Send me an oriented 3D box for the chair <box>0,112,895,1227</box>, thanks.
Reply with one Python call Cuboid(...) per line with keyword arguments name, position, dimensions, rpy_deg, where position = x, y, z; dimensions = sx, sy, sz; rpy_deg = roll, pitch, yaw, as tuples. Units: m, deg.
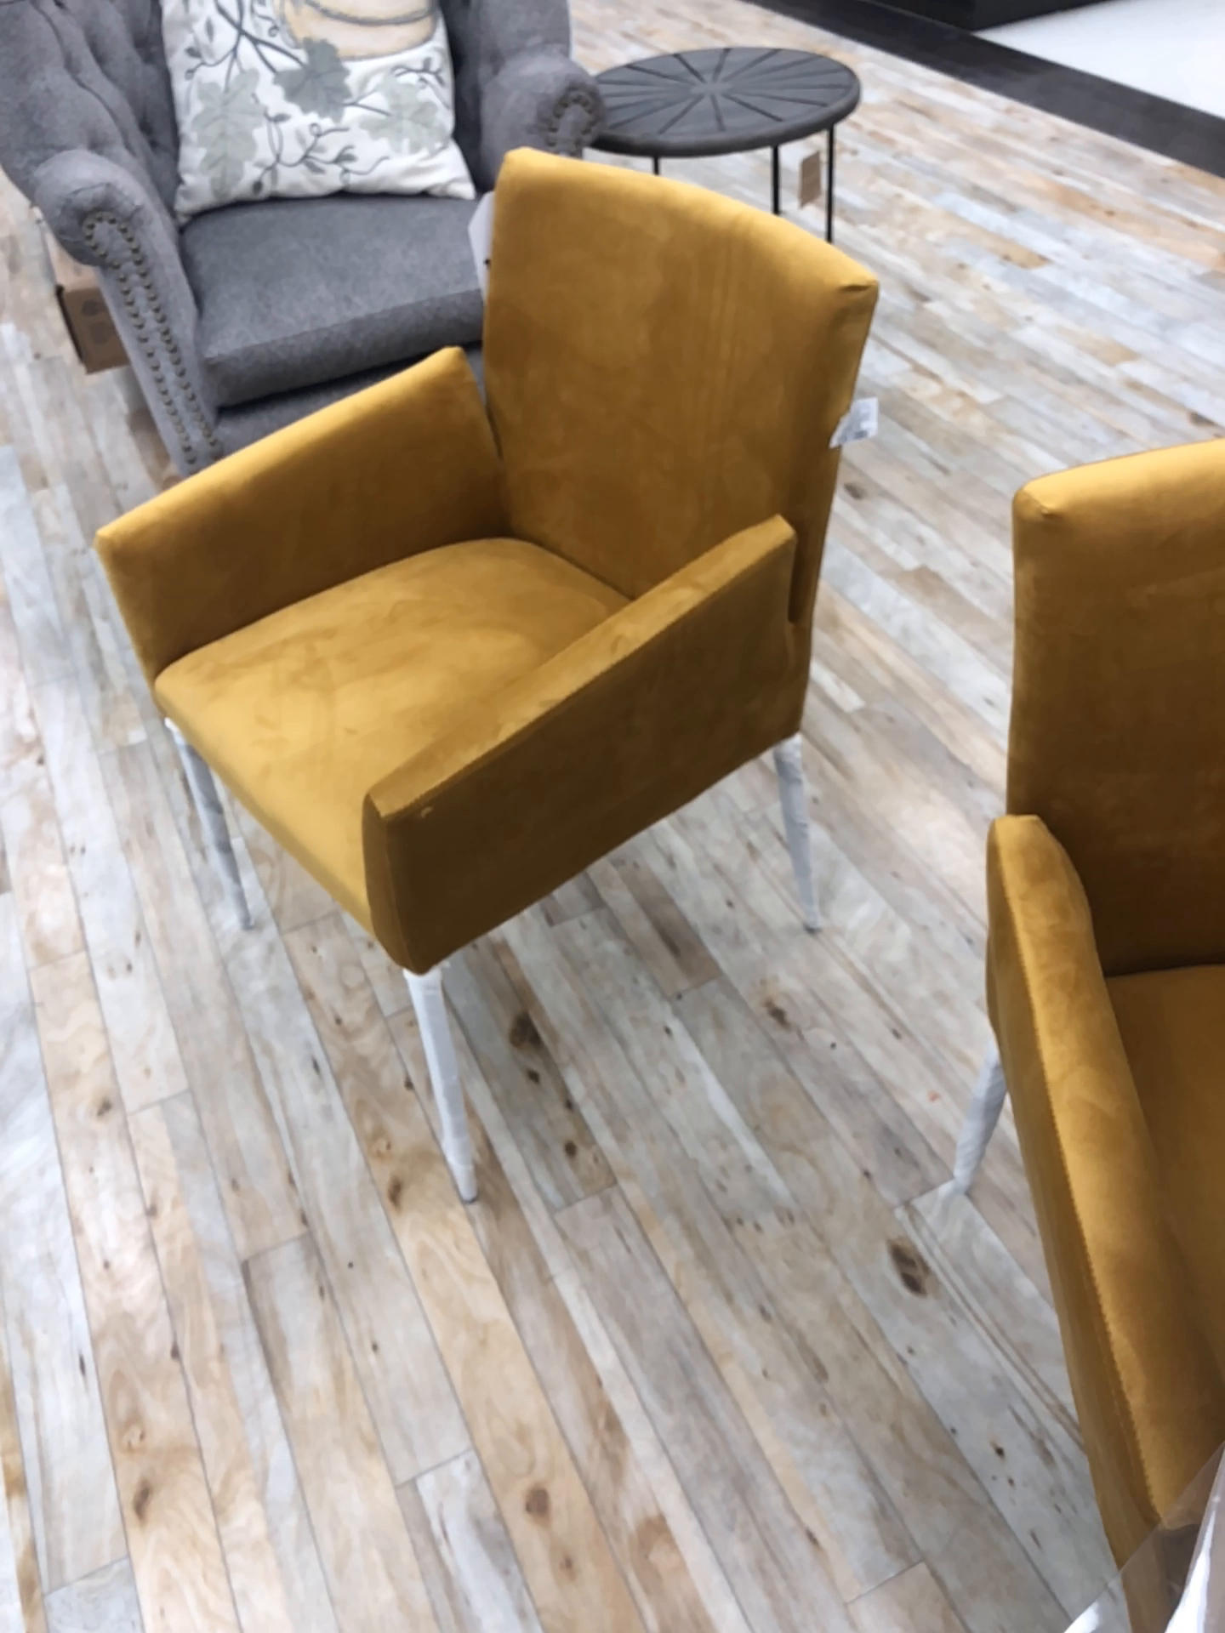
Cuboid(name="chair", position=(-0.135, -0.153, 1.355), dimensions=(0.540, 0.797, 0.562), rpy_deg=(-30, 47, -24))
